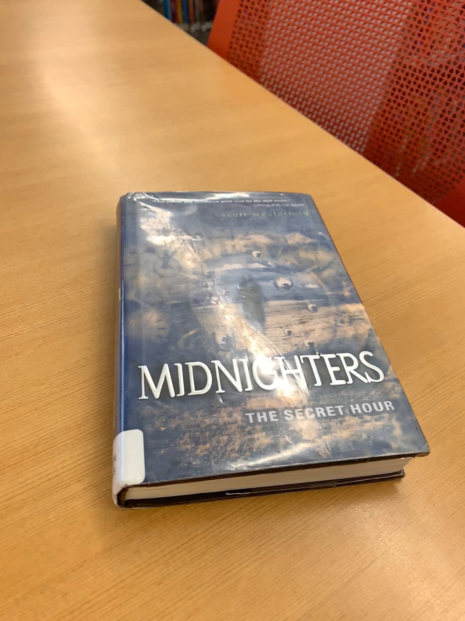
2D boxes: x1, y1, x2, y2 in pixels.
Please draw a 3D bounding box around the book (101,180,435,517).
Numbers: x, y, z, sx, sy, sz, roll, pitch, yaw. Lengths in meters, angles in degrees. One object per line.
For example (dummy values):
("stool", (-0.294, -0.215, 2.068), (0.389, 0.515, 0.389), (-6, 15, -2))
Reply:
("book", (0.002, -0.001, 0.297), (0.151, 0.036, 0.221), (-2, 48, -10))
